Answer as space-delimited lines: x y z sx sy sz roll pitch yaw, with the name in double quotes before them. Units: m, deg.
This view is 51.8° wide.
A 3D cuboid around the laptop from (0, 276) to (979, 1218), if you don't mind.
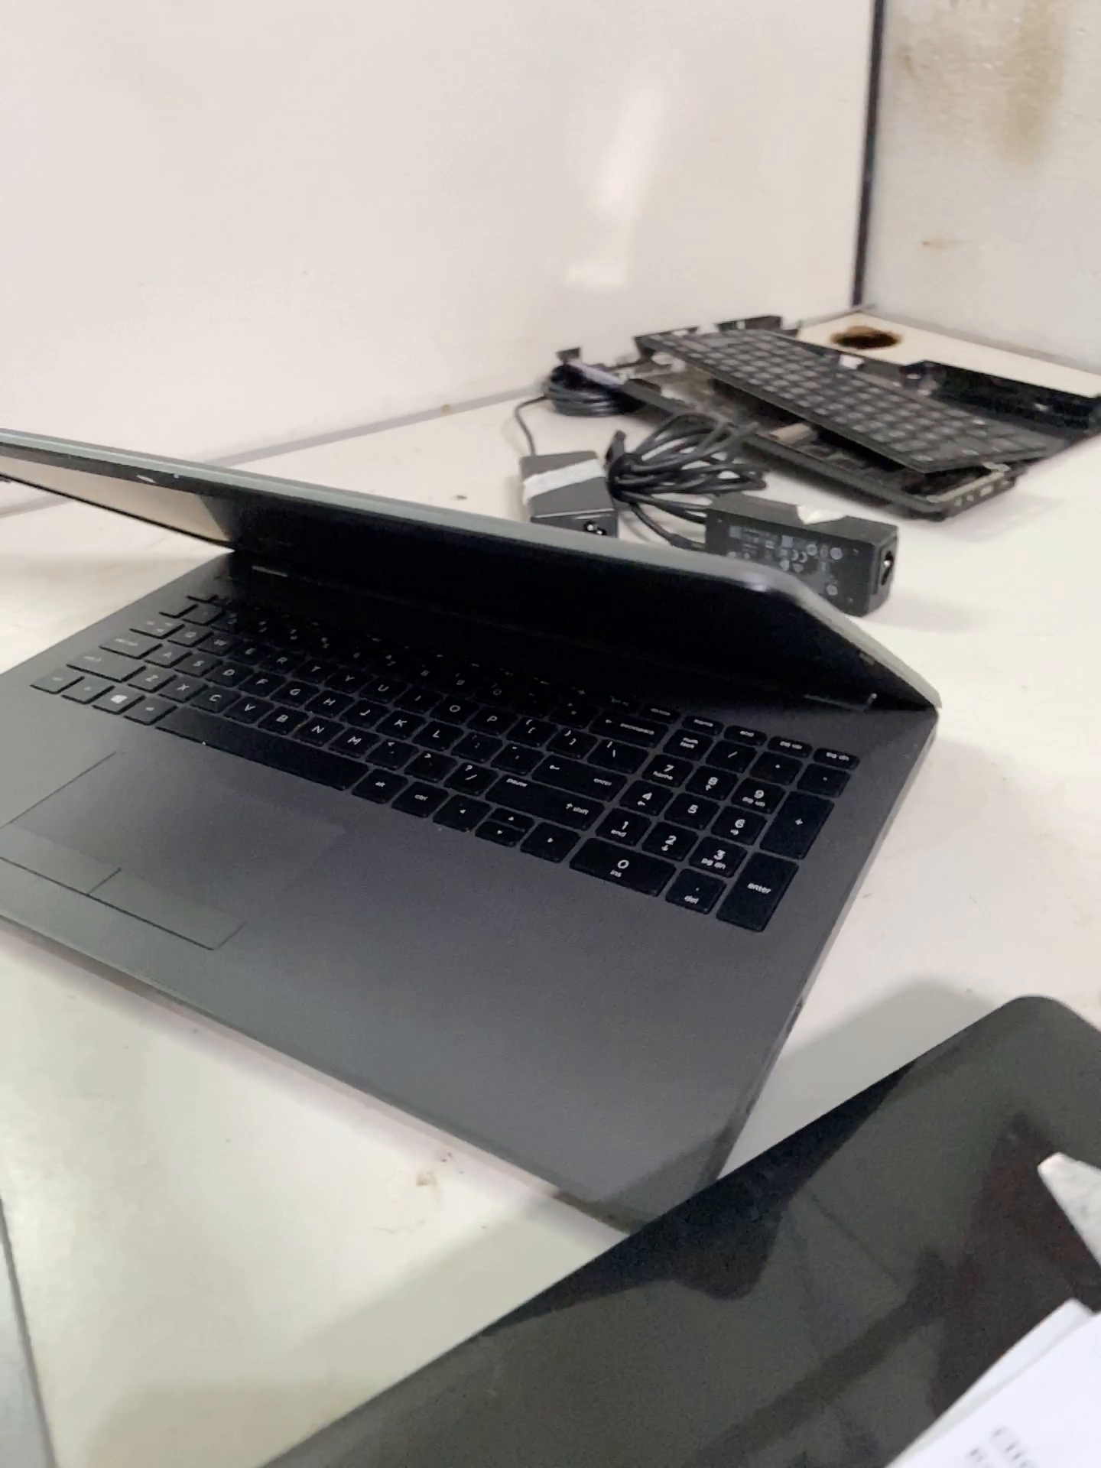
"laptop" -0.079 -0.051 0.408 0.380 0.141 0.248 15 39 27
